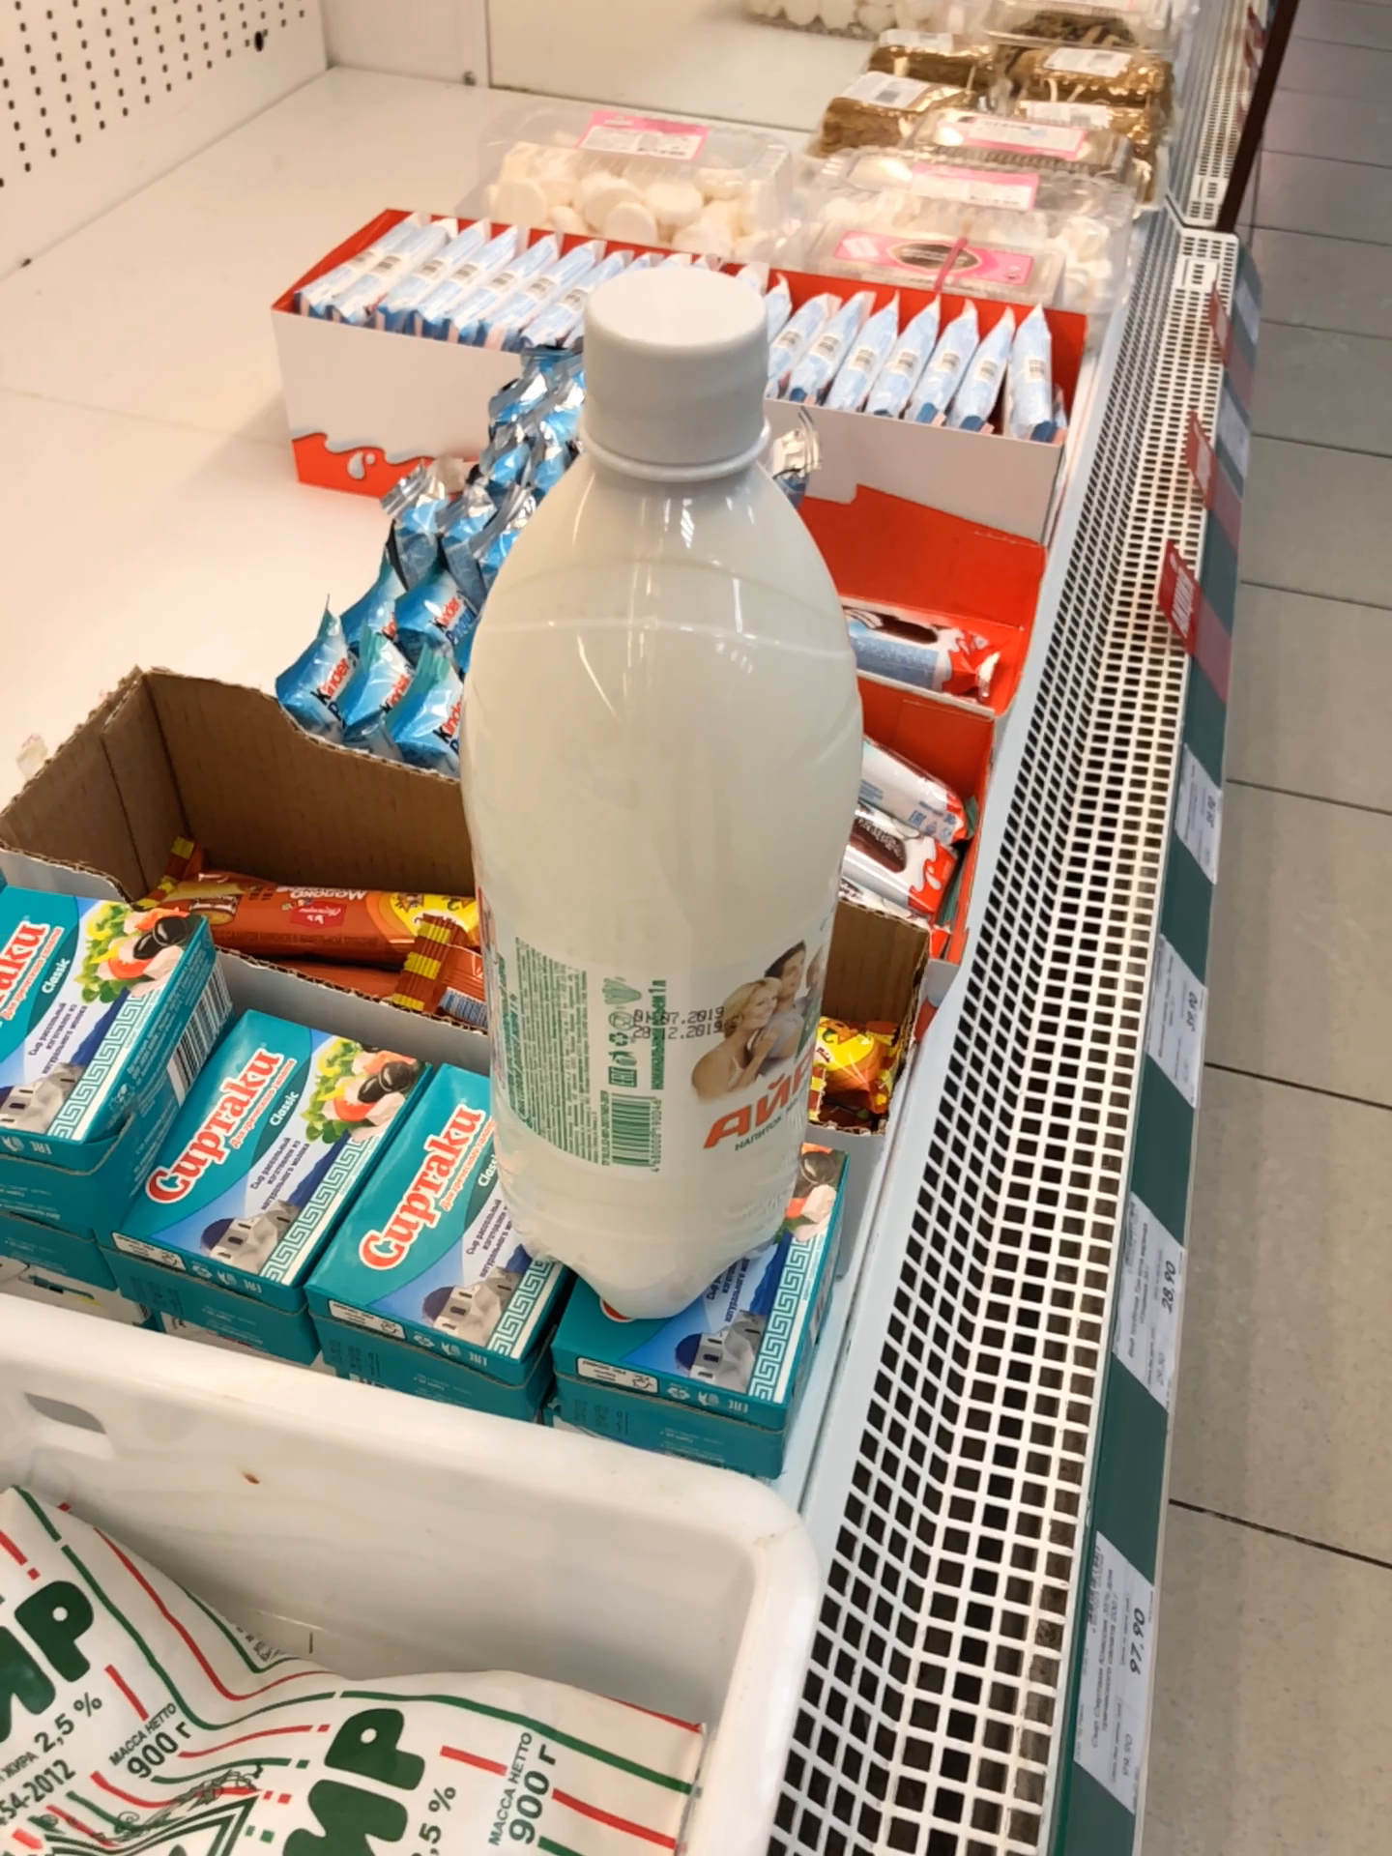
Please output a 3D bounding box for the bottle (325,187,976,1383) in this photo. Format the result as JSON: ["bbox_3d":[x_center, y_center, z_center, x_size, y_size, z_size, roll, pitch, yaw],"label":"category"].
[{"bbox_3d":[-0.010,-0.011,0.335,0.079,0.250,0.078,2,45,-2],"label":"bottle"}]
